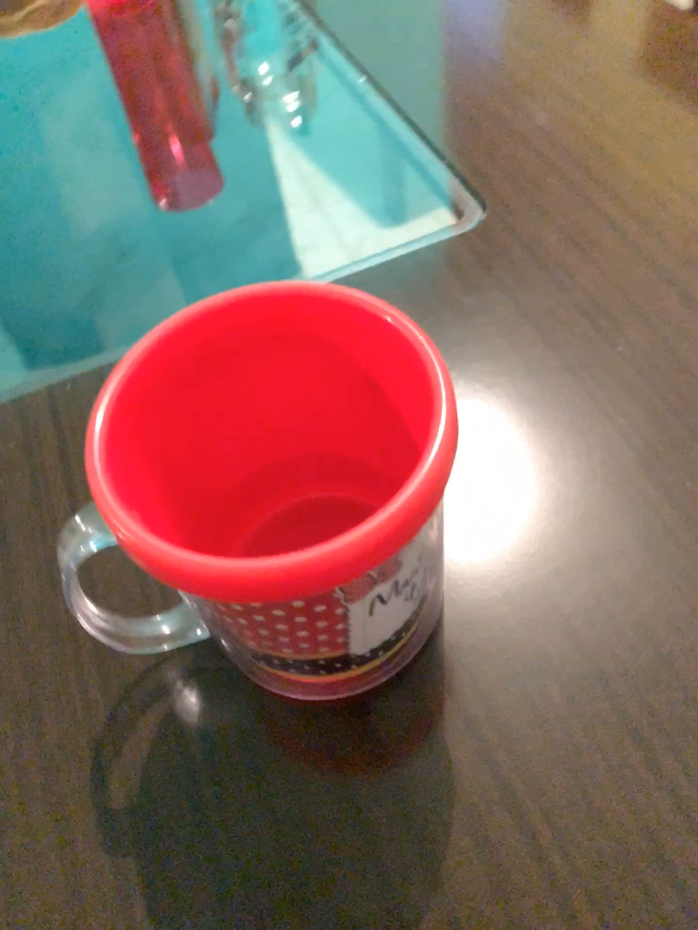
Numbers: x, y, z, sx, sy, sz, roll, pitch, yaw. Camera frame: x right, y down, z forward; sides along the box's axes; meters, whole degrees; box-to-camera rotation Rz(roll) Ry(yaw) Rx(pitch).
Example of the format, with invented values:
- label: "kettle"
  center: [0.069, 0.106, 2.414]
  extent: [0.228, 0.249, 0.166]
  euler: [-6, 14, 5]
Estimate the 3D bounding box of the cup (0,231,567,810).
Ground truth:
- label: "cup"
  center: [-0.019, 0.020, 0.217]
  extent: [0.120, 0.110, 0.090]
  euler: [-23, 55, -9]
